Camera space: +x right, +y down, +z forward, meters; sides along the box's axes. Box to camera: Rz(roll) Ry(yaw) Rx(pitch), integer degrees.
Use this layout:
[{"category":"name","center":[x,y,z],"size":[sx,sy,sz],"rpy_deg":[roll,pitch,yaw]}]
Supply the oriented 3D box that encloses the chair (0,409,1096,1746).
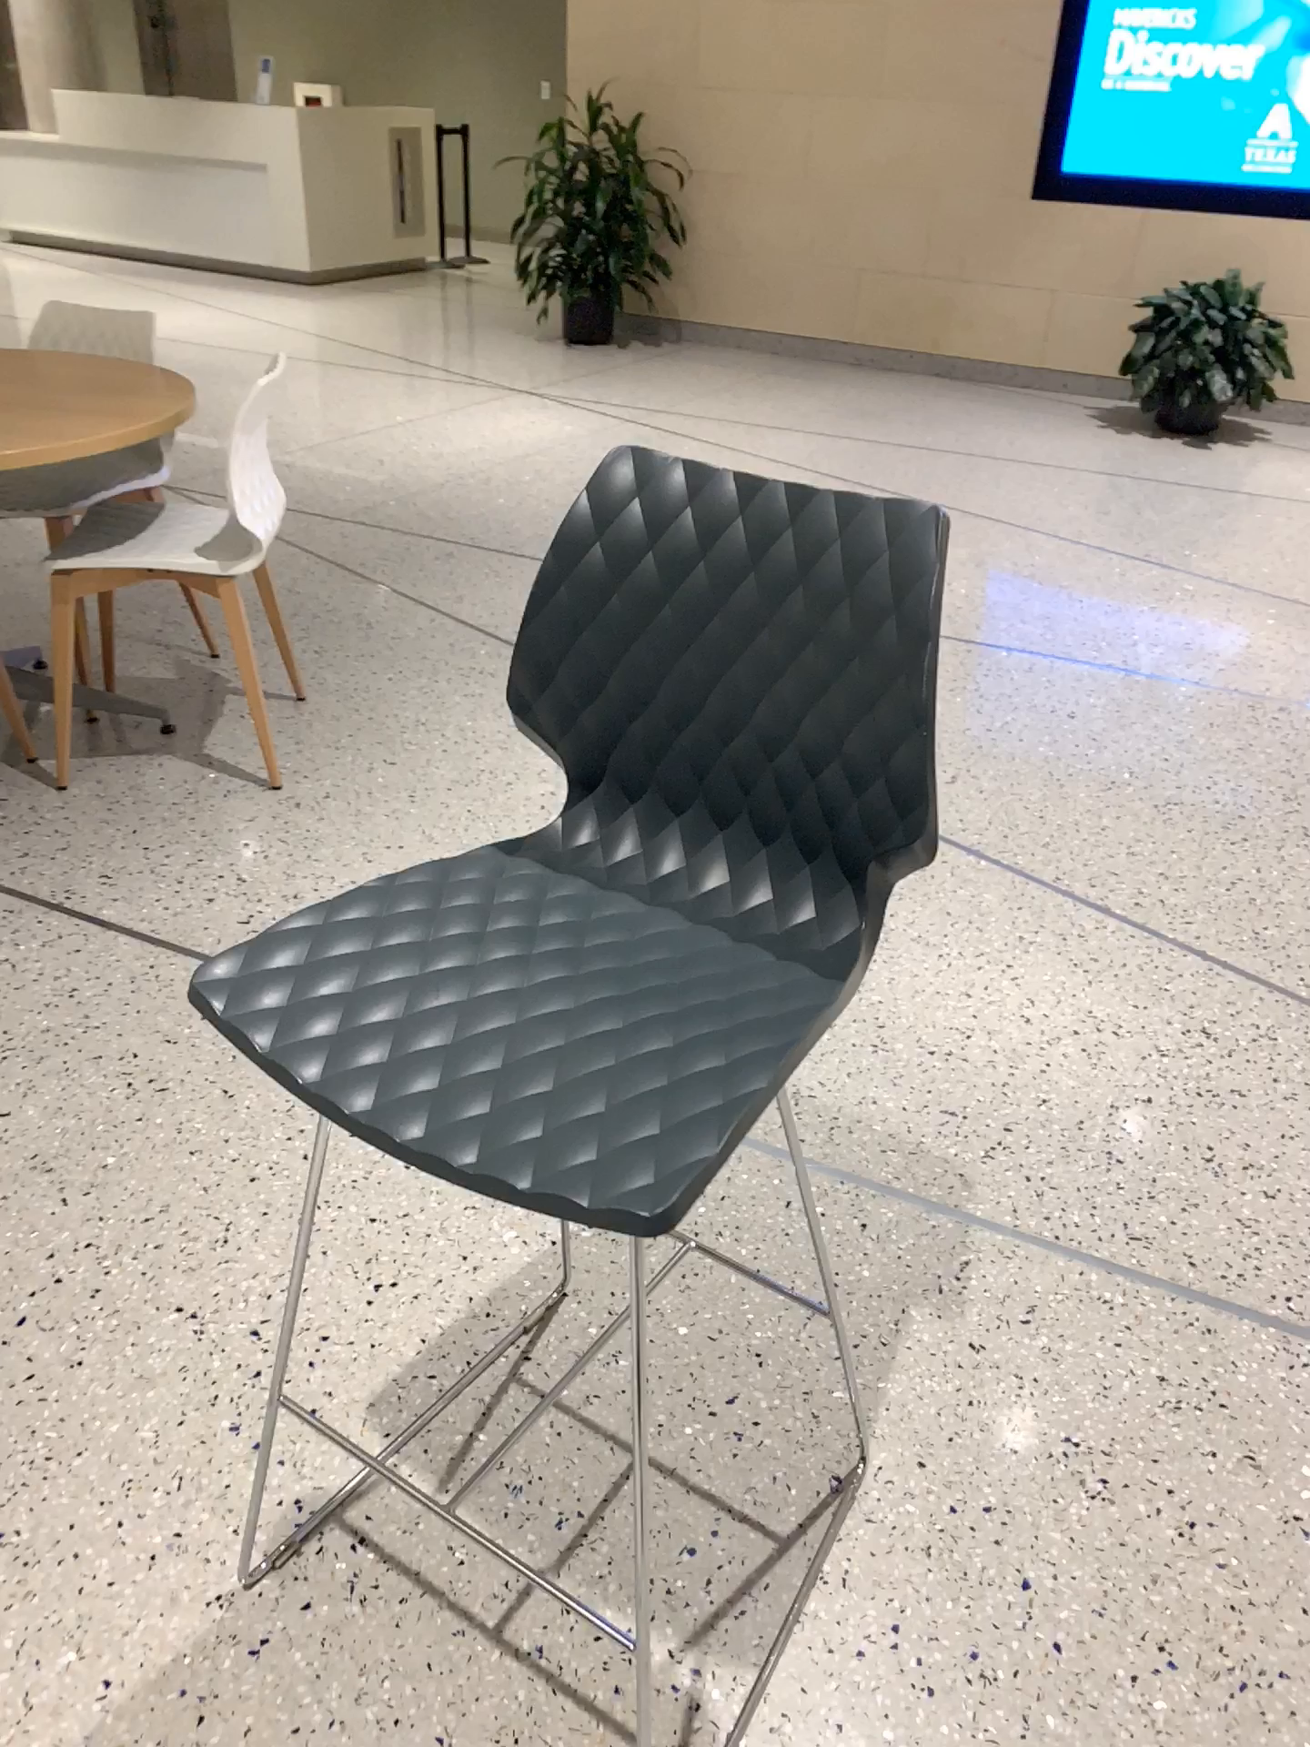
[{"category":"chair","center":[-0.082,0.206,1.131],"size":[0.536,0.996,0.534],"rpy_deg":[22,35,29]}]
